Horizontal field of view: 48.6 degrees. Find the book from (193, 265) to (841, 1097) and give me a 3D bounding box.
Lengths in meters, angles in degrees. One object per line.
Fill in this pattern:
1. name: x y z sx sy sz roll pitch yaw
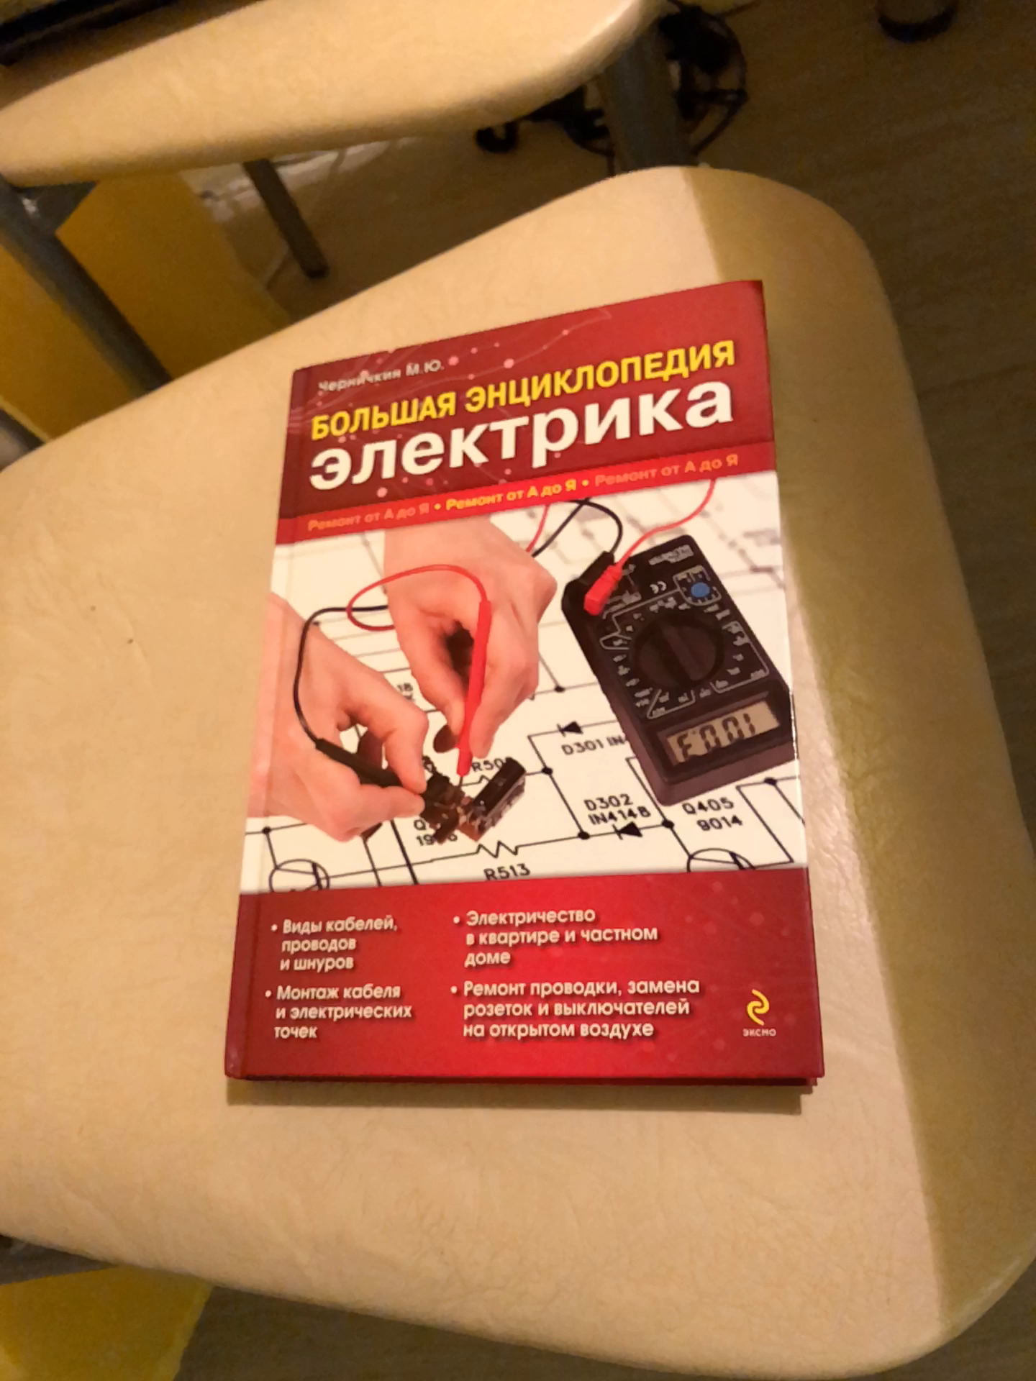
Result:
1. book: -0.001 -0.006 0.350 0.172 0.030 0.241 -6 68 17
